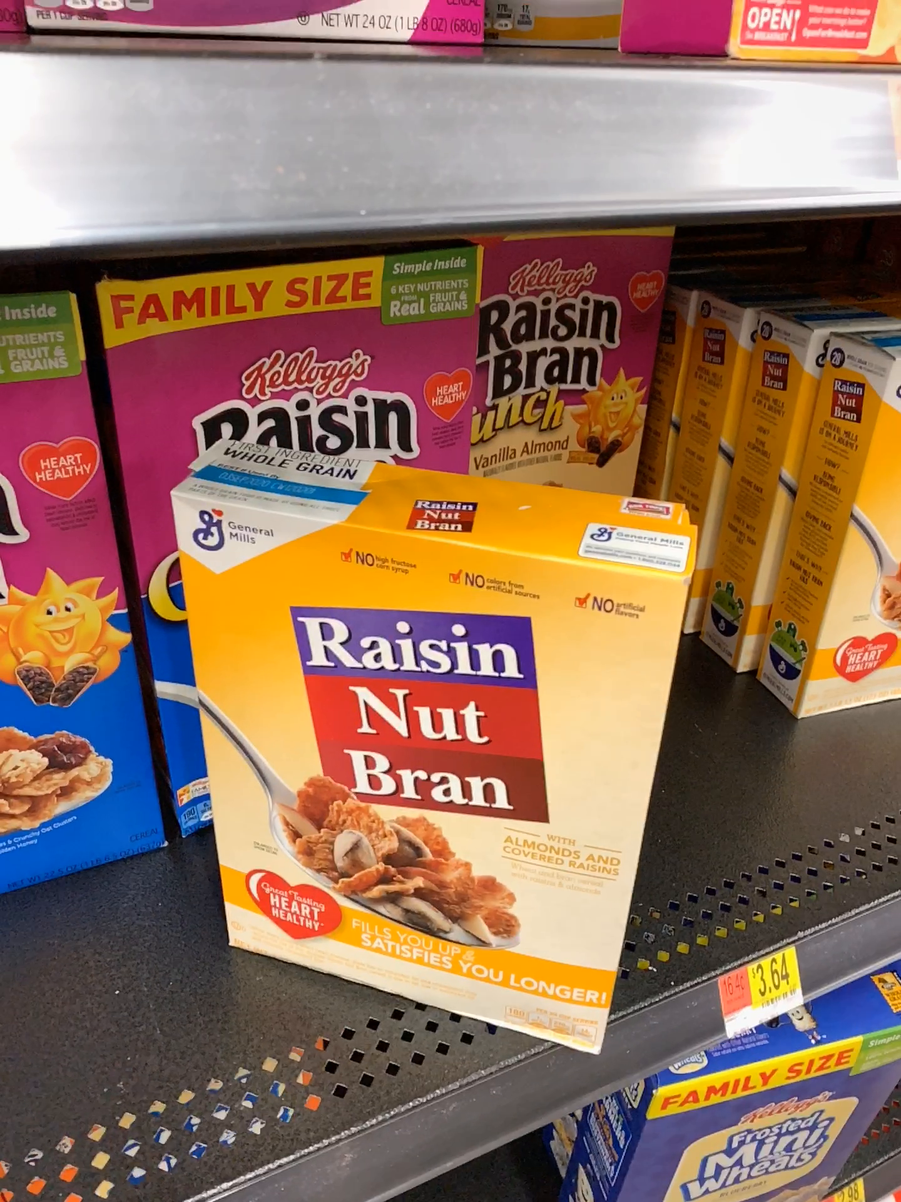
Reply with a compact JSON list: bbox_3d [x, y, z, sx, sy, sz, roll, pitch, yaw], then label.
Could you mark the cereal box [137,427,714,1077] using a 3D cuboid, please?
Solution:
[{"bbox_3d":[-0.014,0.072,0.402,0.200,0.259,0.060,11,32,14],"label":"cereal box"}]
